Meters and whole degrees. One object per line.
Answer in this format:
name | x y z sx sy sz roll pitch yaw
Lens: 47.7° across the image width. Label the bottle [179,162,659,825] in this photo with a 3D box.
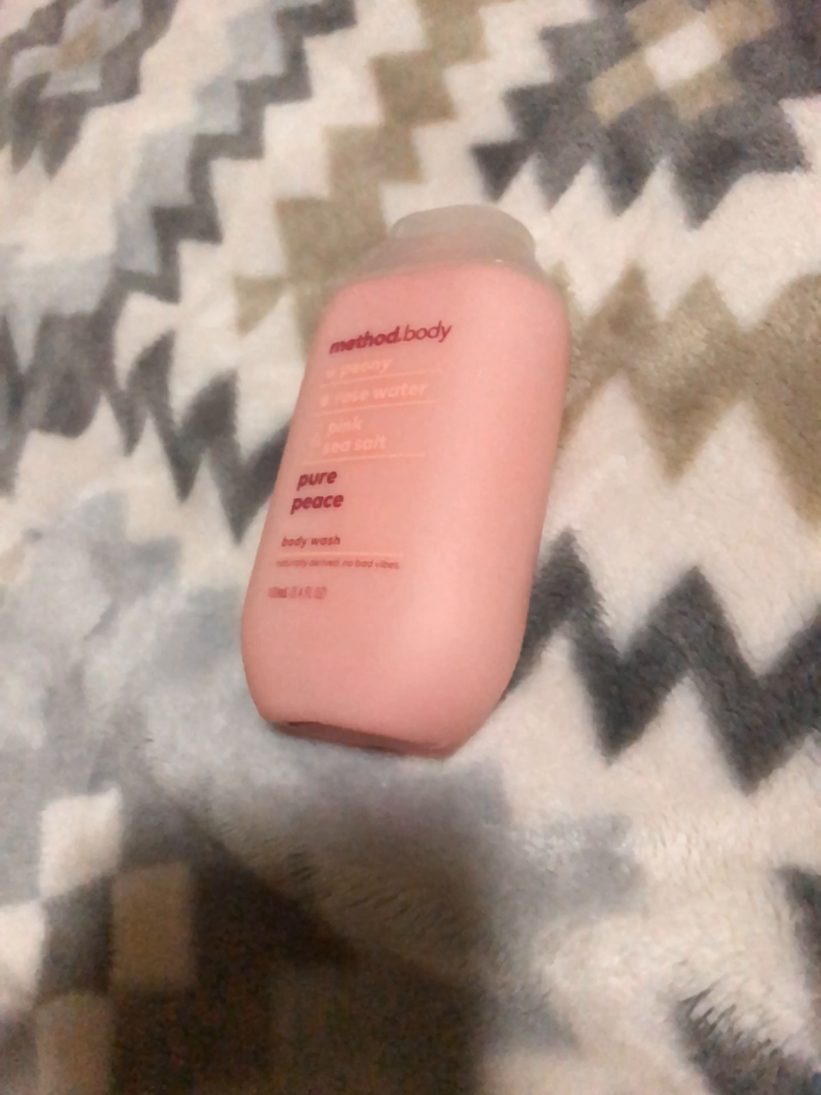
bottle | 0.004 -0.012 0.174 0.057 0.030 0.110 6 74 34
